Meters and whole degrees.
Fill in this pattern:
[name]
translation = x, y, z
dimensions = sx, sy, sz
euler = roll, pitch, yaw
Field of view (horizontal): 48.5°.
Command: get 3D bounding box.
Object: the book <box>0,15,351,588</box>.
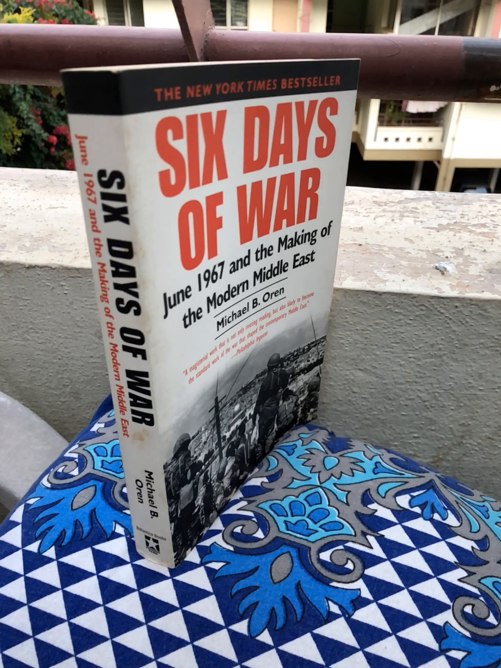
[book]
translation = -0.010, -0.022, 0.300
dimensions = 0.050, 0.249, 0.181
euler = 16, 37, 27
